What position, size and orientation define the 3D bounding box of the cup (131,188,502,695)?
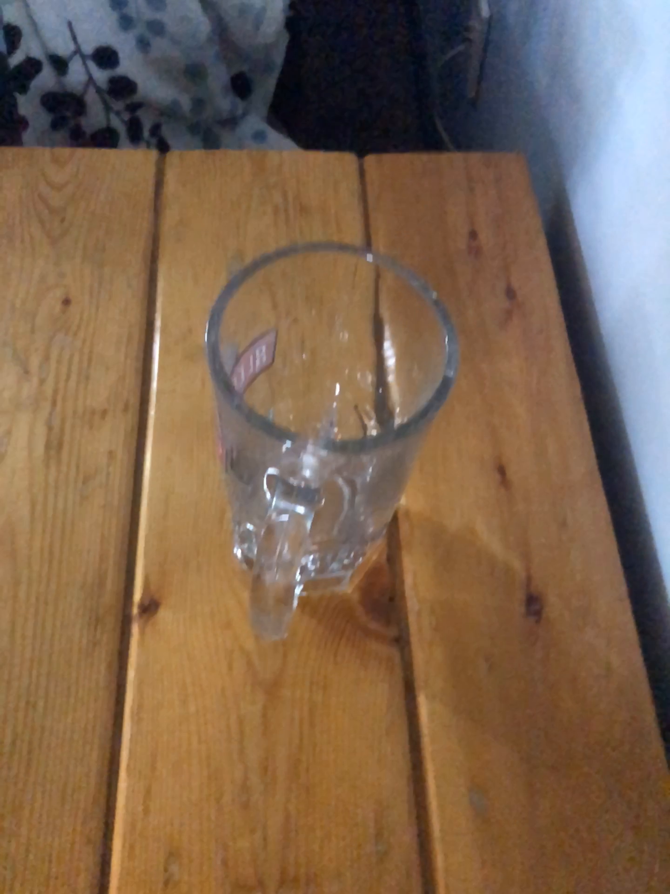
[{"bbox_3d":[-0.005,0.015,0.382,0.110,0.210,0.160,13,62,3],"label":"cup"}]
